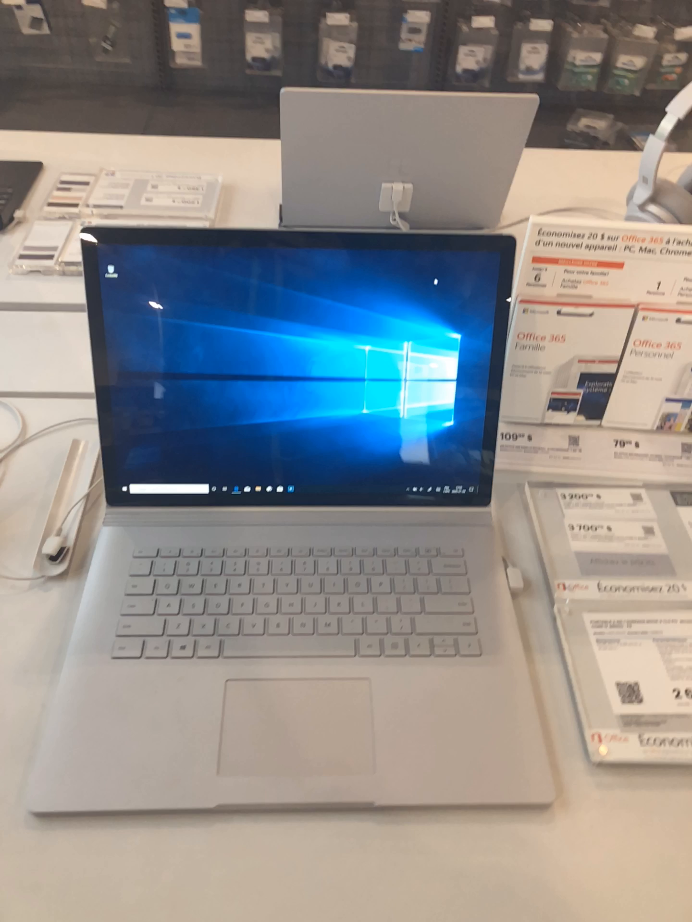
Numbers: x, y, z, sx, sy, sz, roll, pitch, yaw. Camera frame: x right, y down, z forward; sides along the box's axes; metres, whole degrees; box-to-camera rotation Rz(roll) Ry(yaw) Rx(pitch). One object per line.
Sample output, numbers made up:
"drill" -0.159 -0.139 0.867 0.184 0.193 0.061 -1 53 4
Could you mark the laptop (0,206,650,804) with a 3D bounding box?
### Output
"laptop" -0.037 0.013 0.549 0.338 0.207 0.366 1 46 -4
